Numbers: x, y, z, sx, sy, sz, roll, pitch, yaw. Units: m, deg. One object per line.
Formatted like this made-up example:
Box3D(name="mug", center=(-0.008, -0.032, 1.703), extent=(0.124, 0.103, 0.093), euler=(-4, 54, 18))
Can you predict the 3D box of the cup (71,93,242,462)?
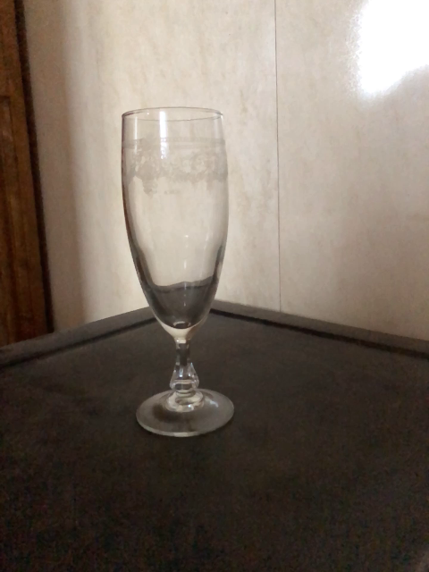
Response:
Box3D(name="cup", center=(-0.025, -0.005, 0.252), extent=(0.060, 0.170, 0.060), euler=(-2, 11, 0))
